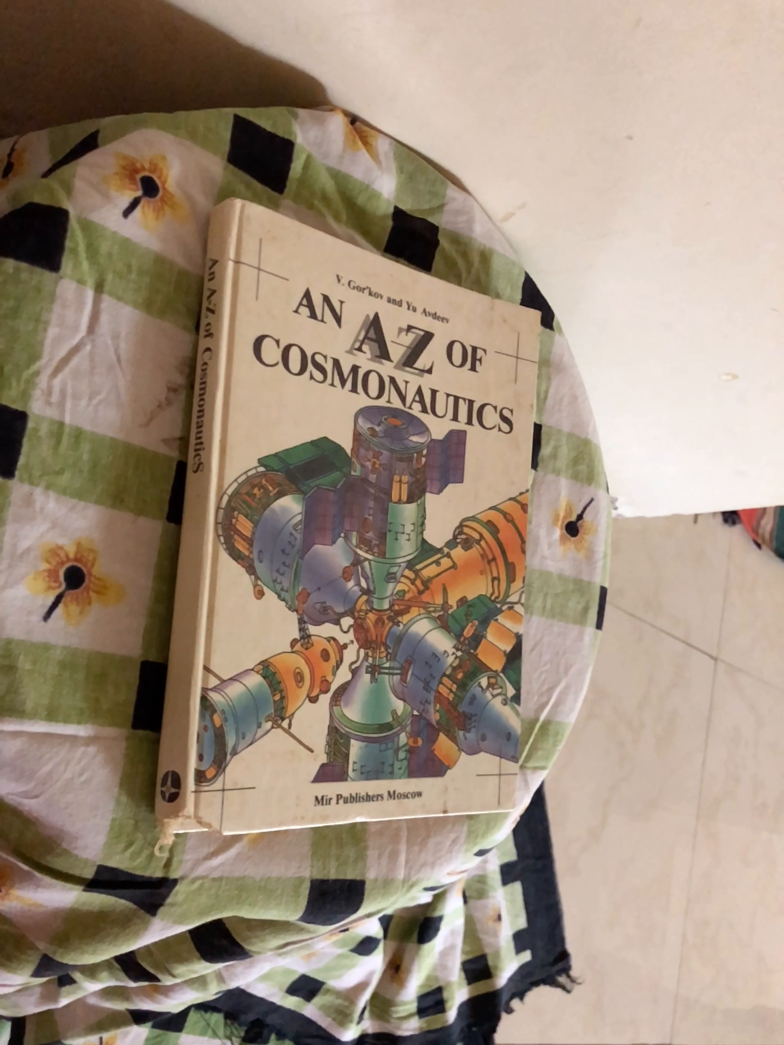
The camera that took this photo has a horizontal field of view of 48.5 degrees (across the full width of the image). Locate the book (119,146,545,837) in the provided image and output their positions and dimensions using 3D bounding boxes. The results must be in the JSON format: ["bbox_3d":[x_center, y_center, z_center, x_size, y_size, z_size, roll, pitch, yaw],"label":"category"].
[{"bbox_3d":[-0.015,-0.004,0.412,0.181,0.060,0.270,11,78,-39],"label":"book"}]
